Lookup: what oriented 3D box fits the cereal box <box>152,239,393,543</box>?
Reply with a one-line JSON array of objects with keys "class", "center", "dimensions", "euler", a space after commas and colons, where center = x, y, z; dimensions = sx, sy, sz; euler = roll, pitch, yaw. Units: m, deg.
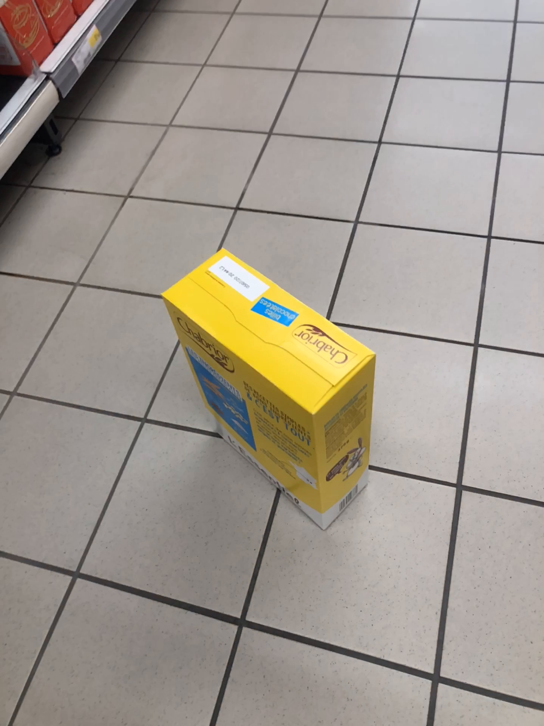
[{"class": "cereal box", "center": [0.010, 0.041, 0.615], "dimensions": [0.090, 0.269, 0.200], "euler": [-41, 60, -19]}]
